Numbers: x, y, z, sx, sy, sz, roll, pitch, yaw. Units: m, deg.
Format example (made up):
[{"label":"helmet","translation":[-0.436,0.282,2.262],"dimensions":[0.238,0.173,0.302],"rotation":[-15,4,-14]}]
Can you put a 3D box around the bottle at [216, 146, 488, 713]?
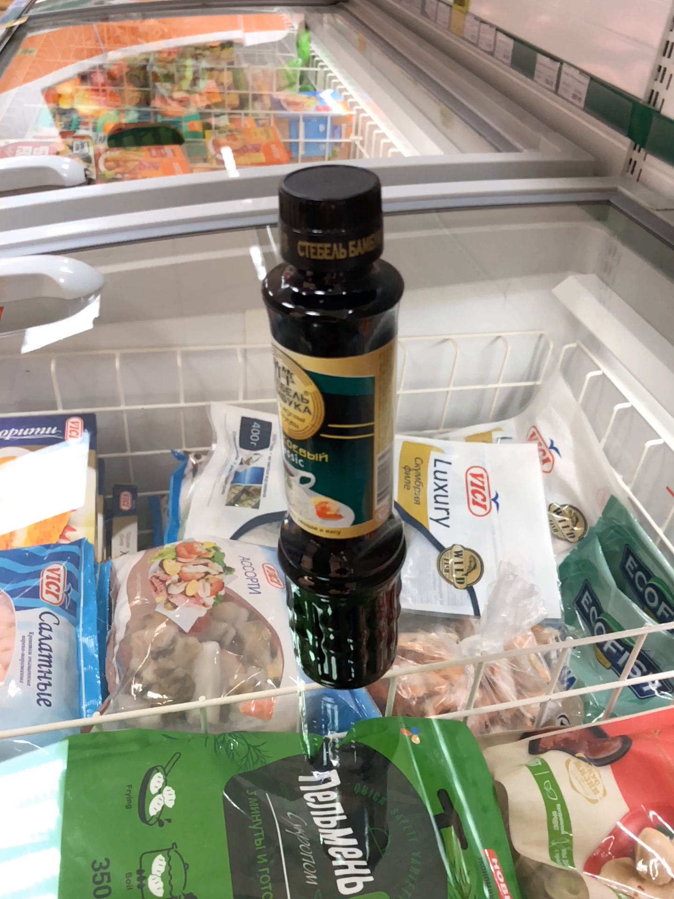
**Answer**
[{"label":"bottle","translation":[0.001,0.005,0.269],"dimensions":[0.053,0.199,0.058],"rotation":[1,39,-1]}]
